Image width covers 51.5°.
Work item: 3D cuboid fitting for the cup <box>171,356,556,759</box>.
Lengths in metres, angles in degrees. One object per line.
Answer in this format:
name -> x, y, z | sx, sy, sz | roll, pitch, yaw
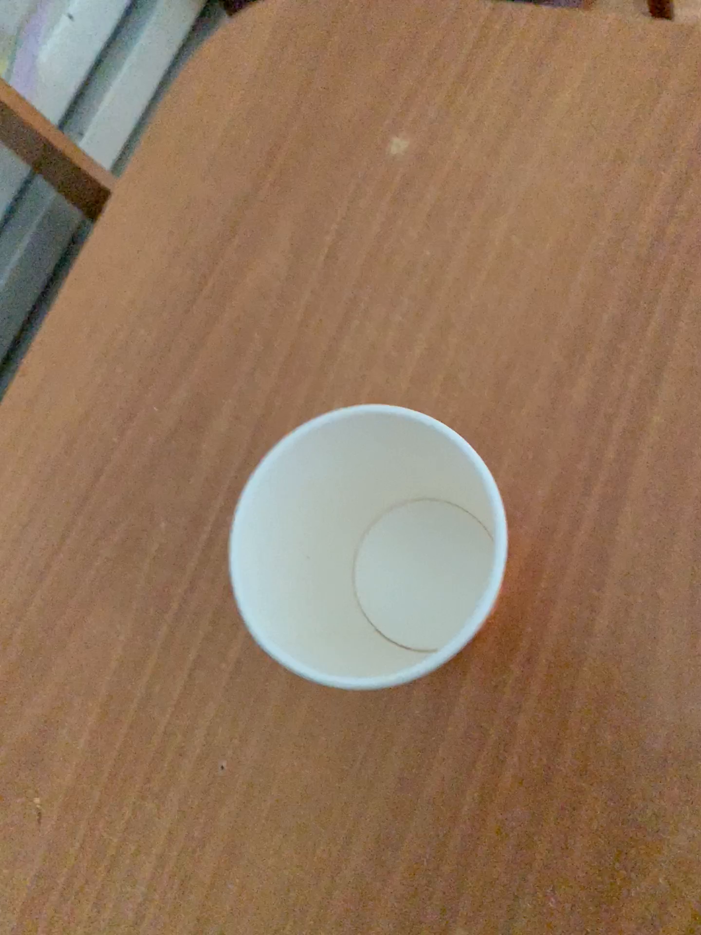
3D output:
cup -> 0.009, 0.034, 0.241 | 0.084, 0.088, 0.089 | -5, 74, 17
